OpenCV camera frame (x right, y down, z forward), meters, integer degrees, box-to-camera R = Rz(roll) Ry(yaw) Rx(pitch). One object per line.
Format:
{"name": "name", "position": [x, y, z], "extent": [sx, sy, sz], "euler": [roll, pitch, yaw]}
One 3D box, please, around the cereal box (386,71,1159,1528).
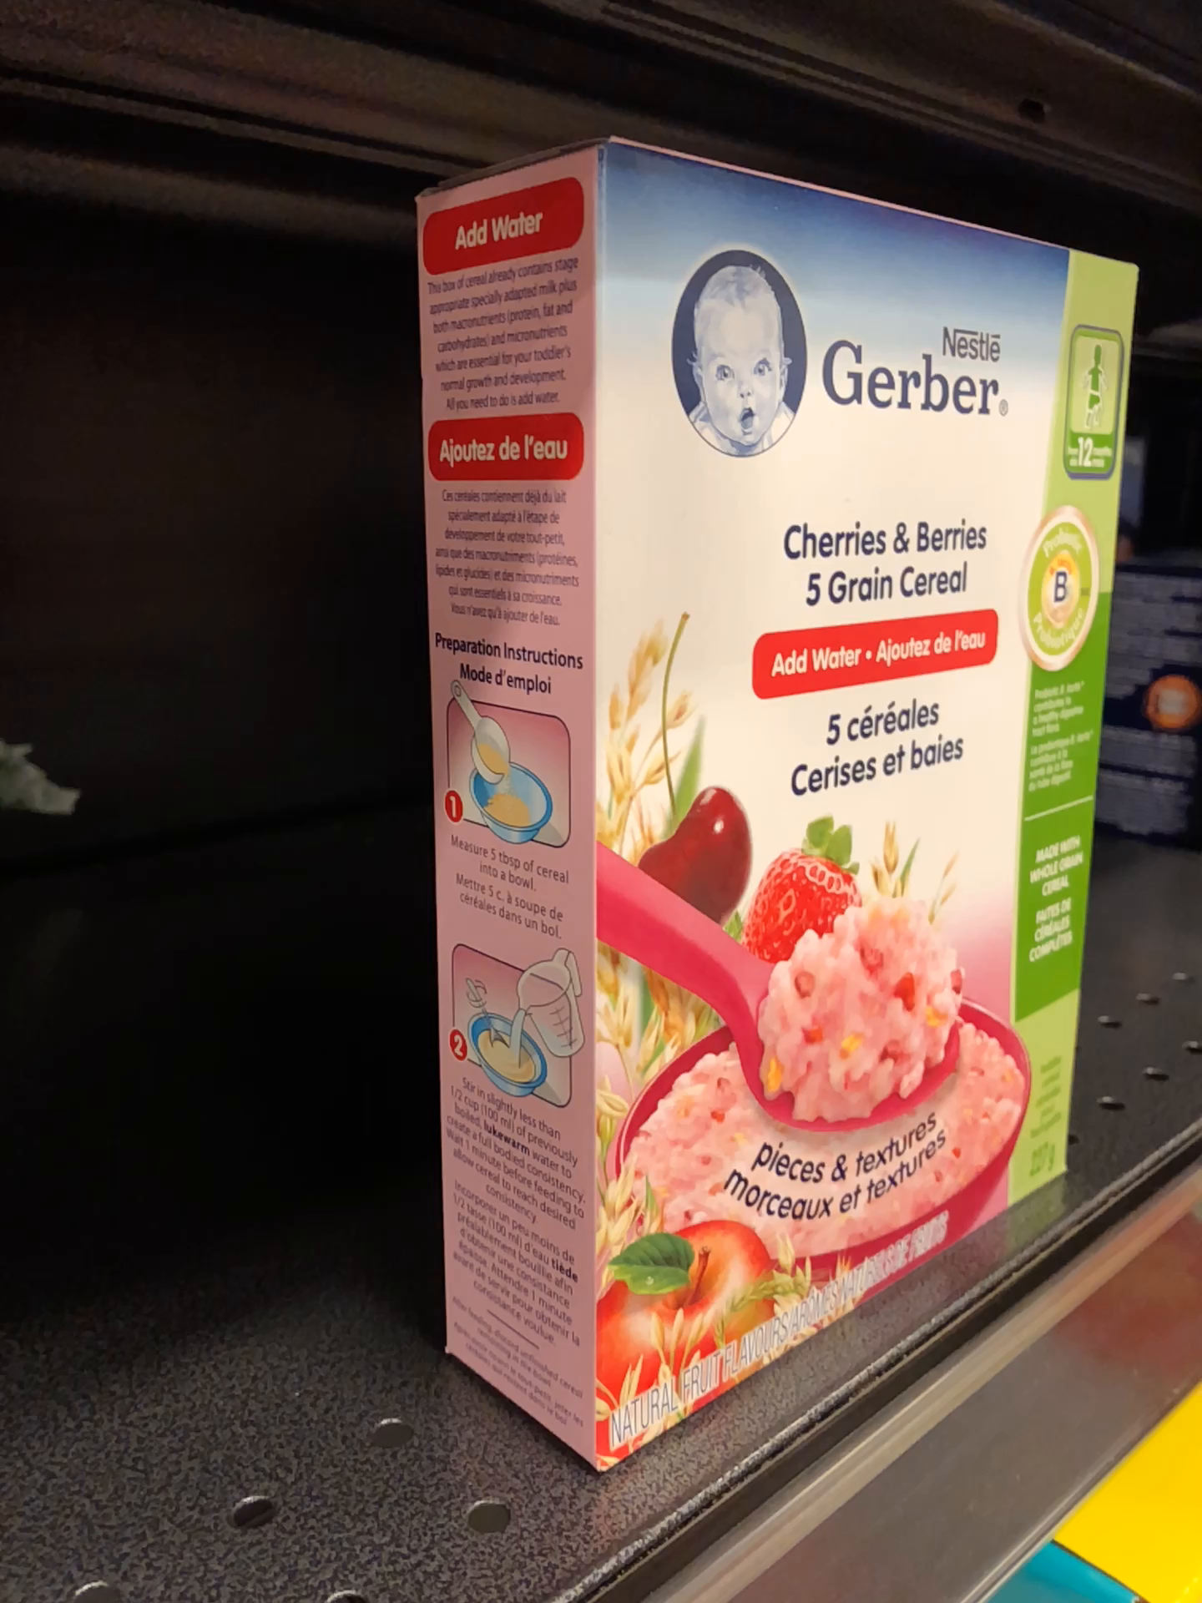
{"name": "cereal box", "position": [0.037, -0.003, 0.245], "extent": [0.150, 0.200, 0.040], "euler": [-9, 15, -41]}
